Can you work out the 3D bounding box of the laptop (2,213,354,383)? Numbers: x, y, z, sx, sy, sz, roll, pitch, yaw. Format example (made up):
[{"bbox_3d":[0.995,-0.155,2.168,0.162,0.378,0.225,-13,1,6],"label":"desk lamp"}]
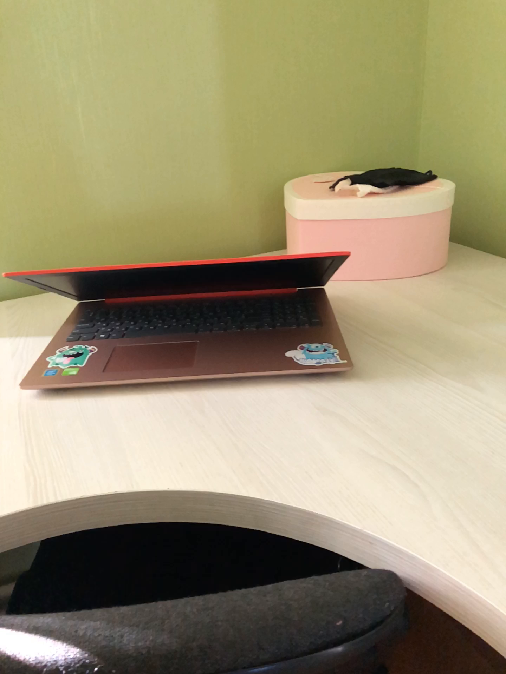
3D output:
[{"bbox_3d":[-0.078,-0.061,0.705,0.366,0.112,0.233,-3,26,1],"label":"laptop"}]
